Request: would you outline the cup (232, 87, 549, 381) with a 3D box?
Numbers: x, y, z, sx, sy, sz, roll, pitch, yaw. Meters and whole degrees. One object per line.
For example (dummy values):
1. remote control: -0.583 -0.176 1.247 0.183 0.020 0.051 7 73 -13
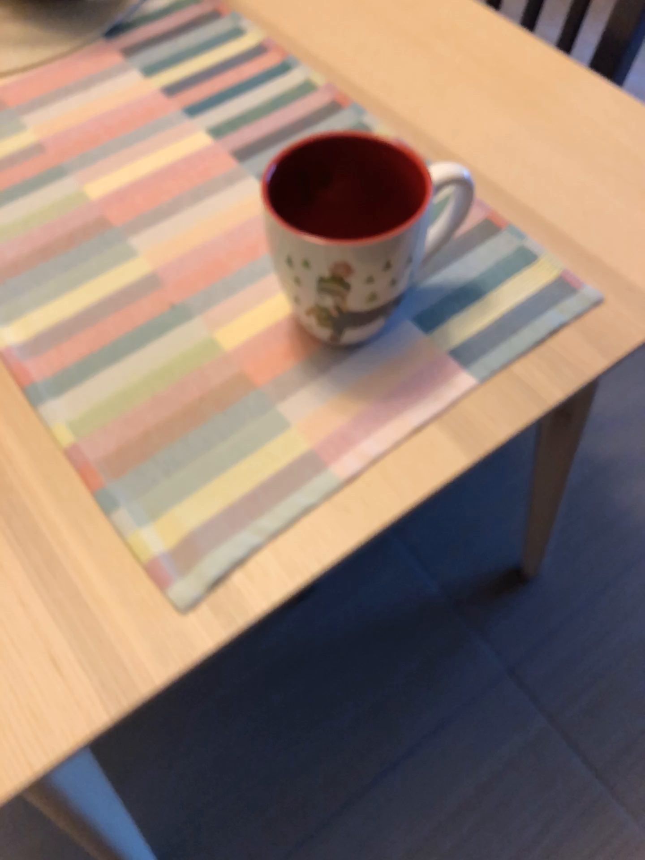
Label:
1. cup: 0.035 -0.117 0.431 0.140 0.090 0.100 -21 60 -12
